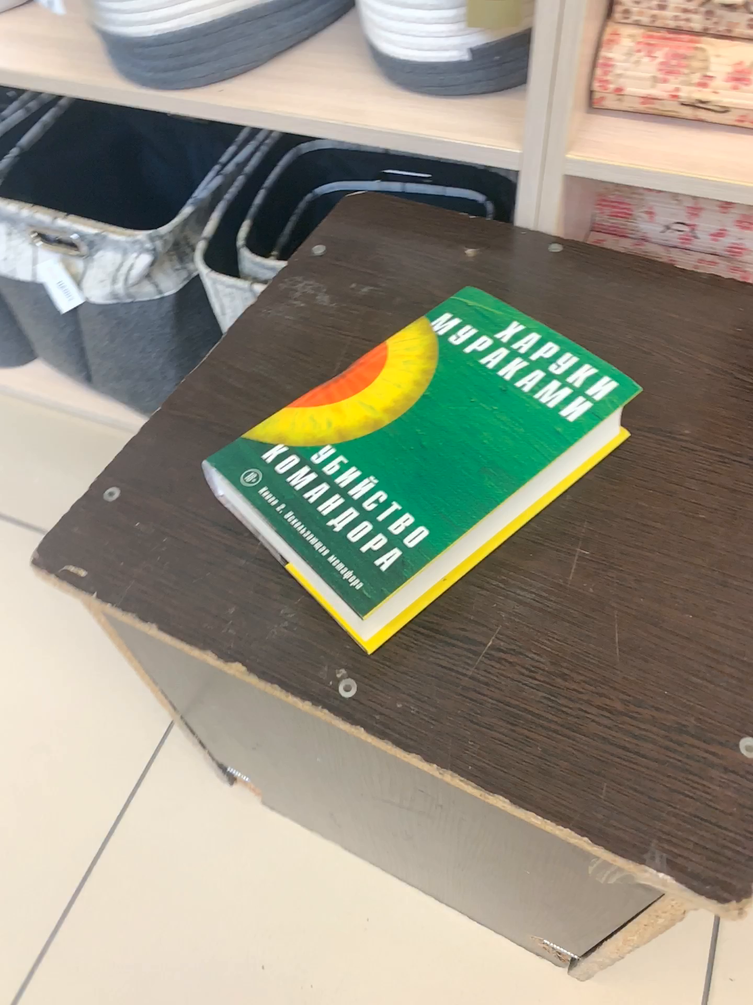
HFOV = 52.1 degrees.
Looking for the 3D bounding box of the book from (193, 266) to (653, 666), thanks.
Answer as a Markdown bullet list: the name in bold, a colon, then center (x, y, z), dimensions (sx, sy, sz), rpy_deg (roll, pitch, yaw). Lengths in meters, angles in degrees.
- **book**: center (0.028, -0.035, 0.458), dimensions (0.217, 0.050, 0.150), rpy_deg (-38, 60, -18)
